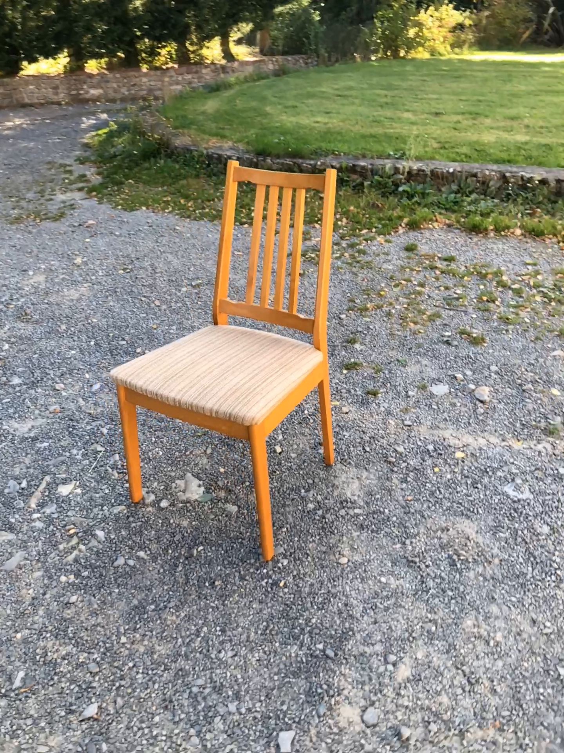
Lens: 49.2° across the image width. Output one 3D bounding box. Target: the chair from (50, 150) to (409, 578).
[{"bbox_3d":[-0.082,-0.074,1.645,0.600,0.845,0.594,16,37,26],"label":"chair"}]
